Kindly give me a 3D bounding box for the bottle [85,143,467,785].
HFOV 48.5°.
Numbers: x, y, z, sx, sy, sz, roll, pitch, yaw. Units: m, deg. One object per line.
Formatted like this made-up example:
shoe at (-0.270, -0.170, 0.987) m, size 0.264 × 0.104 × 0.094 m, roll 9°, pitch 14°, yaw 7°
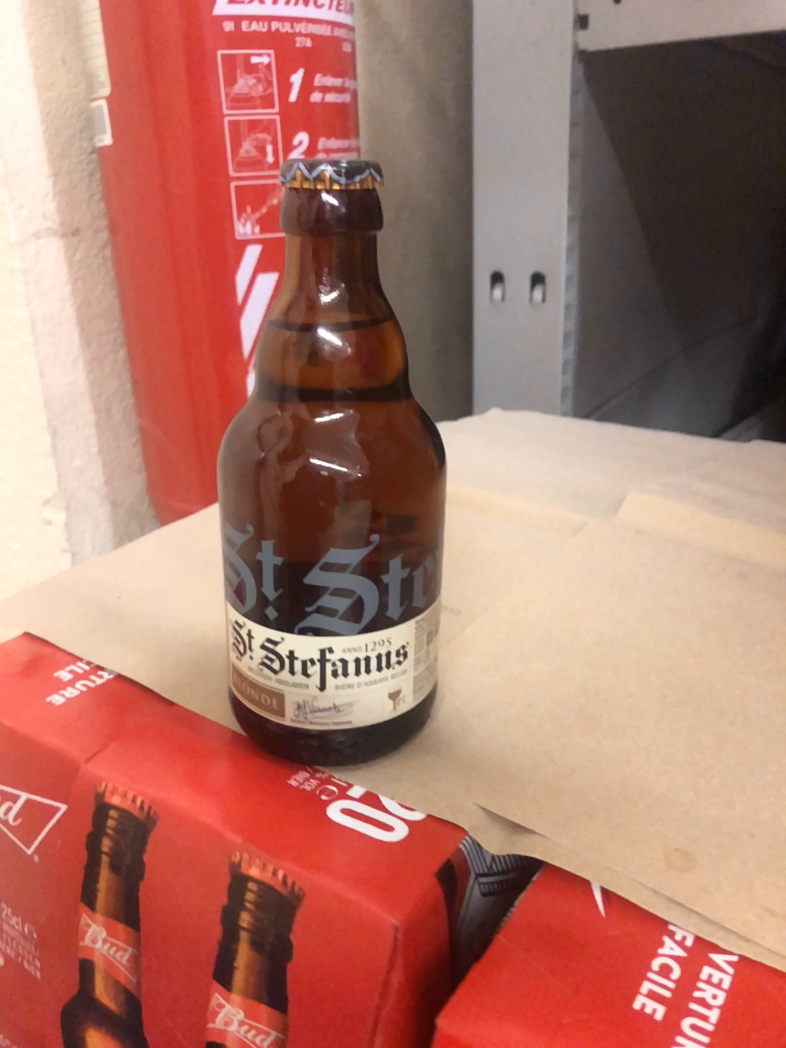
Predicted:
bottle at (-0.024, -0.021, 0.266) m, size 0.080 × 0.169 × 0.080 m, roll -1°, pitch 20°, yaw 0°
